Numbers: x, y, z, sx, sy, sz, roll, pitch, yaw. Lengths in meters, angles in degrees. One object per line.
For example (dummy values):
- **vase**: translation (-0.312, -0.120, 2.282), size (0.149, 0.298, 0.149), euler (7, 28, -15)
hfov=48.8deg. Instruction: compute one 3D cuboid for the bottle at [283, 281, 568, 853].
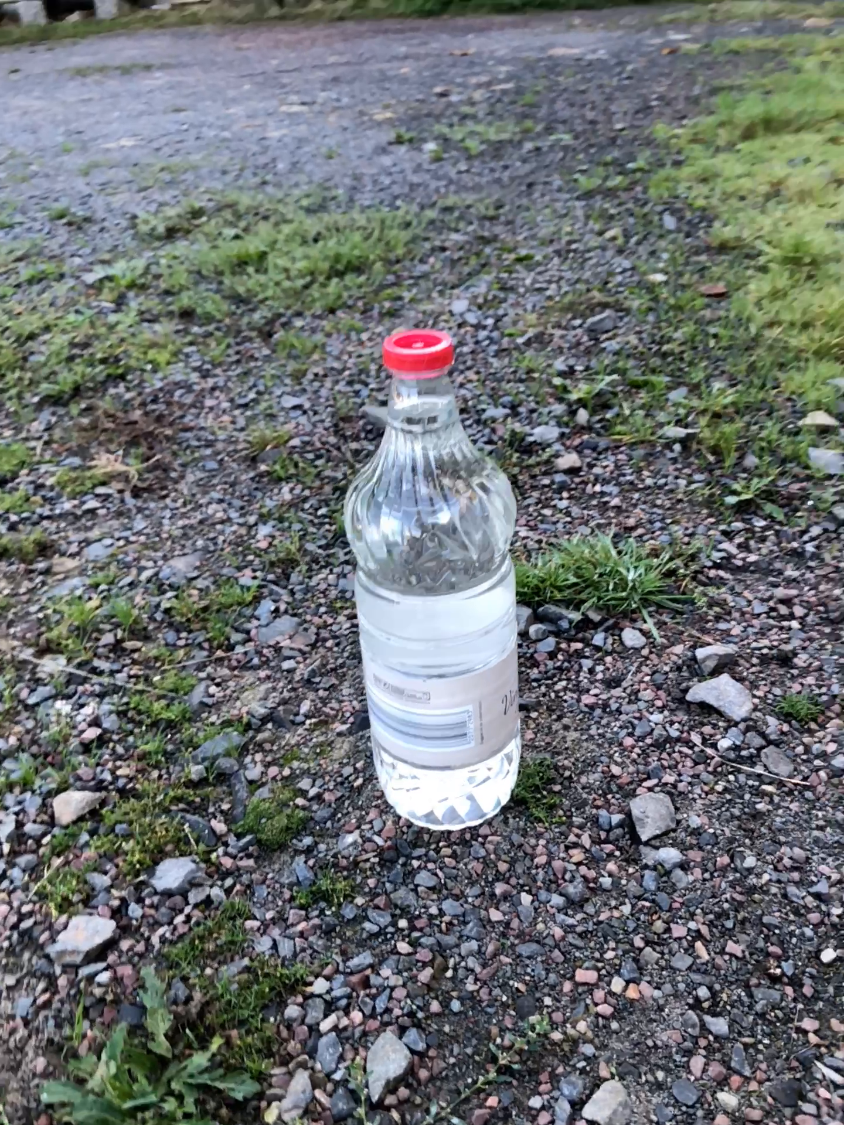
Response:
- **bottle**: translation (0.006, 0.007, 0.456), size (0.100, 0.249, 0.100), euler (-4, 31, 3)
